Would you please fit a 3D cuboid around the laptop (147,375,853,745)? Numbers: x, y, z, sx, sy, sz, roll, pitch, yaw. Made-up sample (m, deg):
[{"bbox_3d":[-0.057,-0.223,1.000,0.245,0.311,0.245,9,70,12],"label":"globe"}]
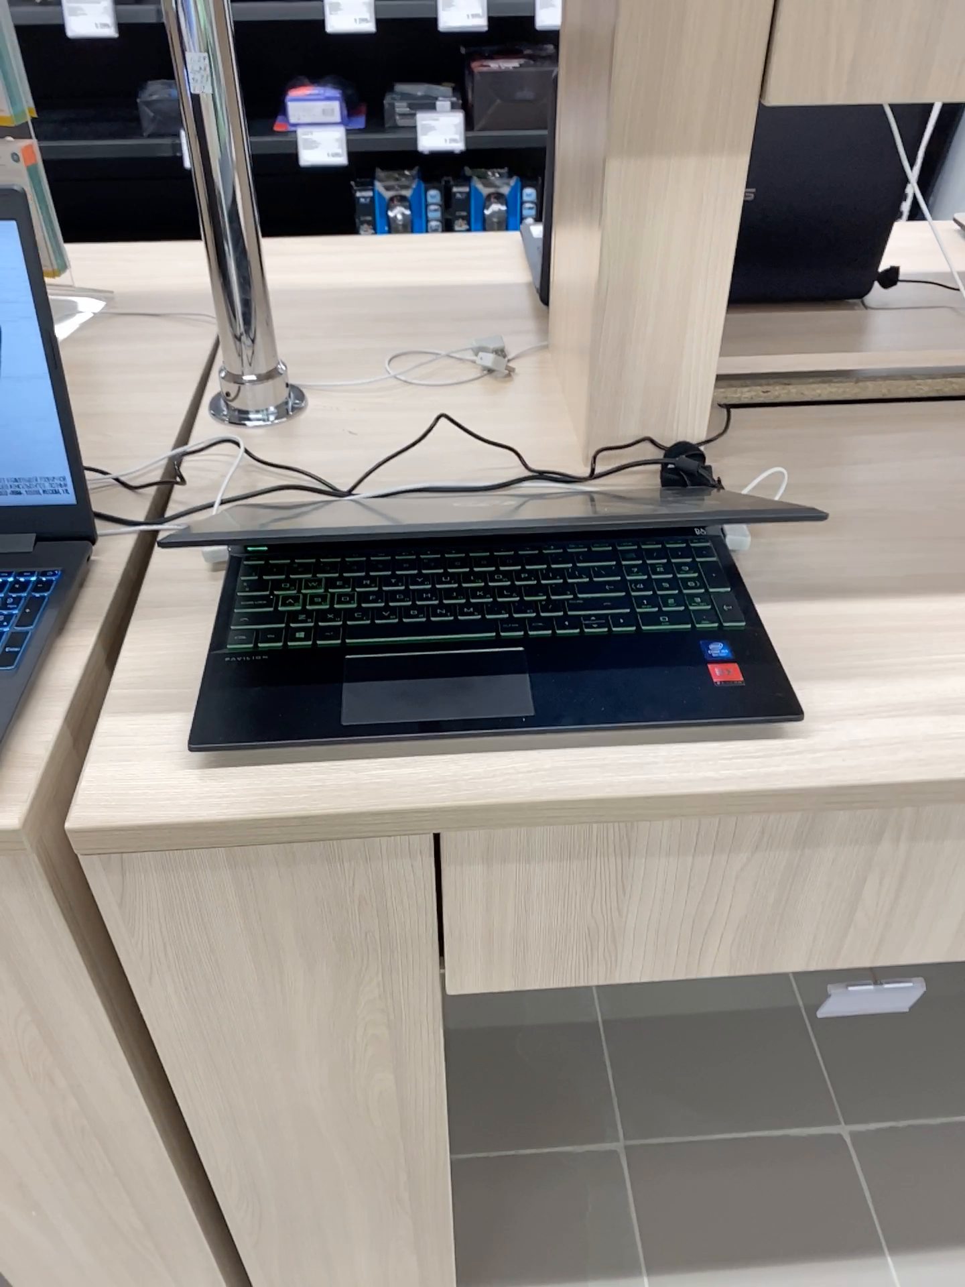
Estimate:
[{"bbox_3d":[0.003,-0.066,0.630,0.364,0.108,0.236,-2,39,-3],"label":"laptop"}]
